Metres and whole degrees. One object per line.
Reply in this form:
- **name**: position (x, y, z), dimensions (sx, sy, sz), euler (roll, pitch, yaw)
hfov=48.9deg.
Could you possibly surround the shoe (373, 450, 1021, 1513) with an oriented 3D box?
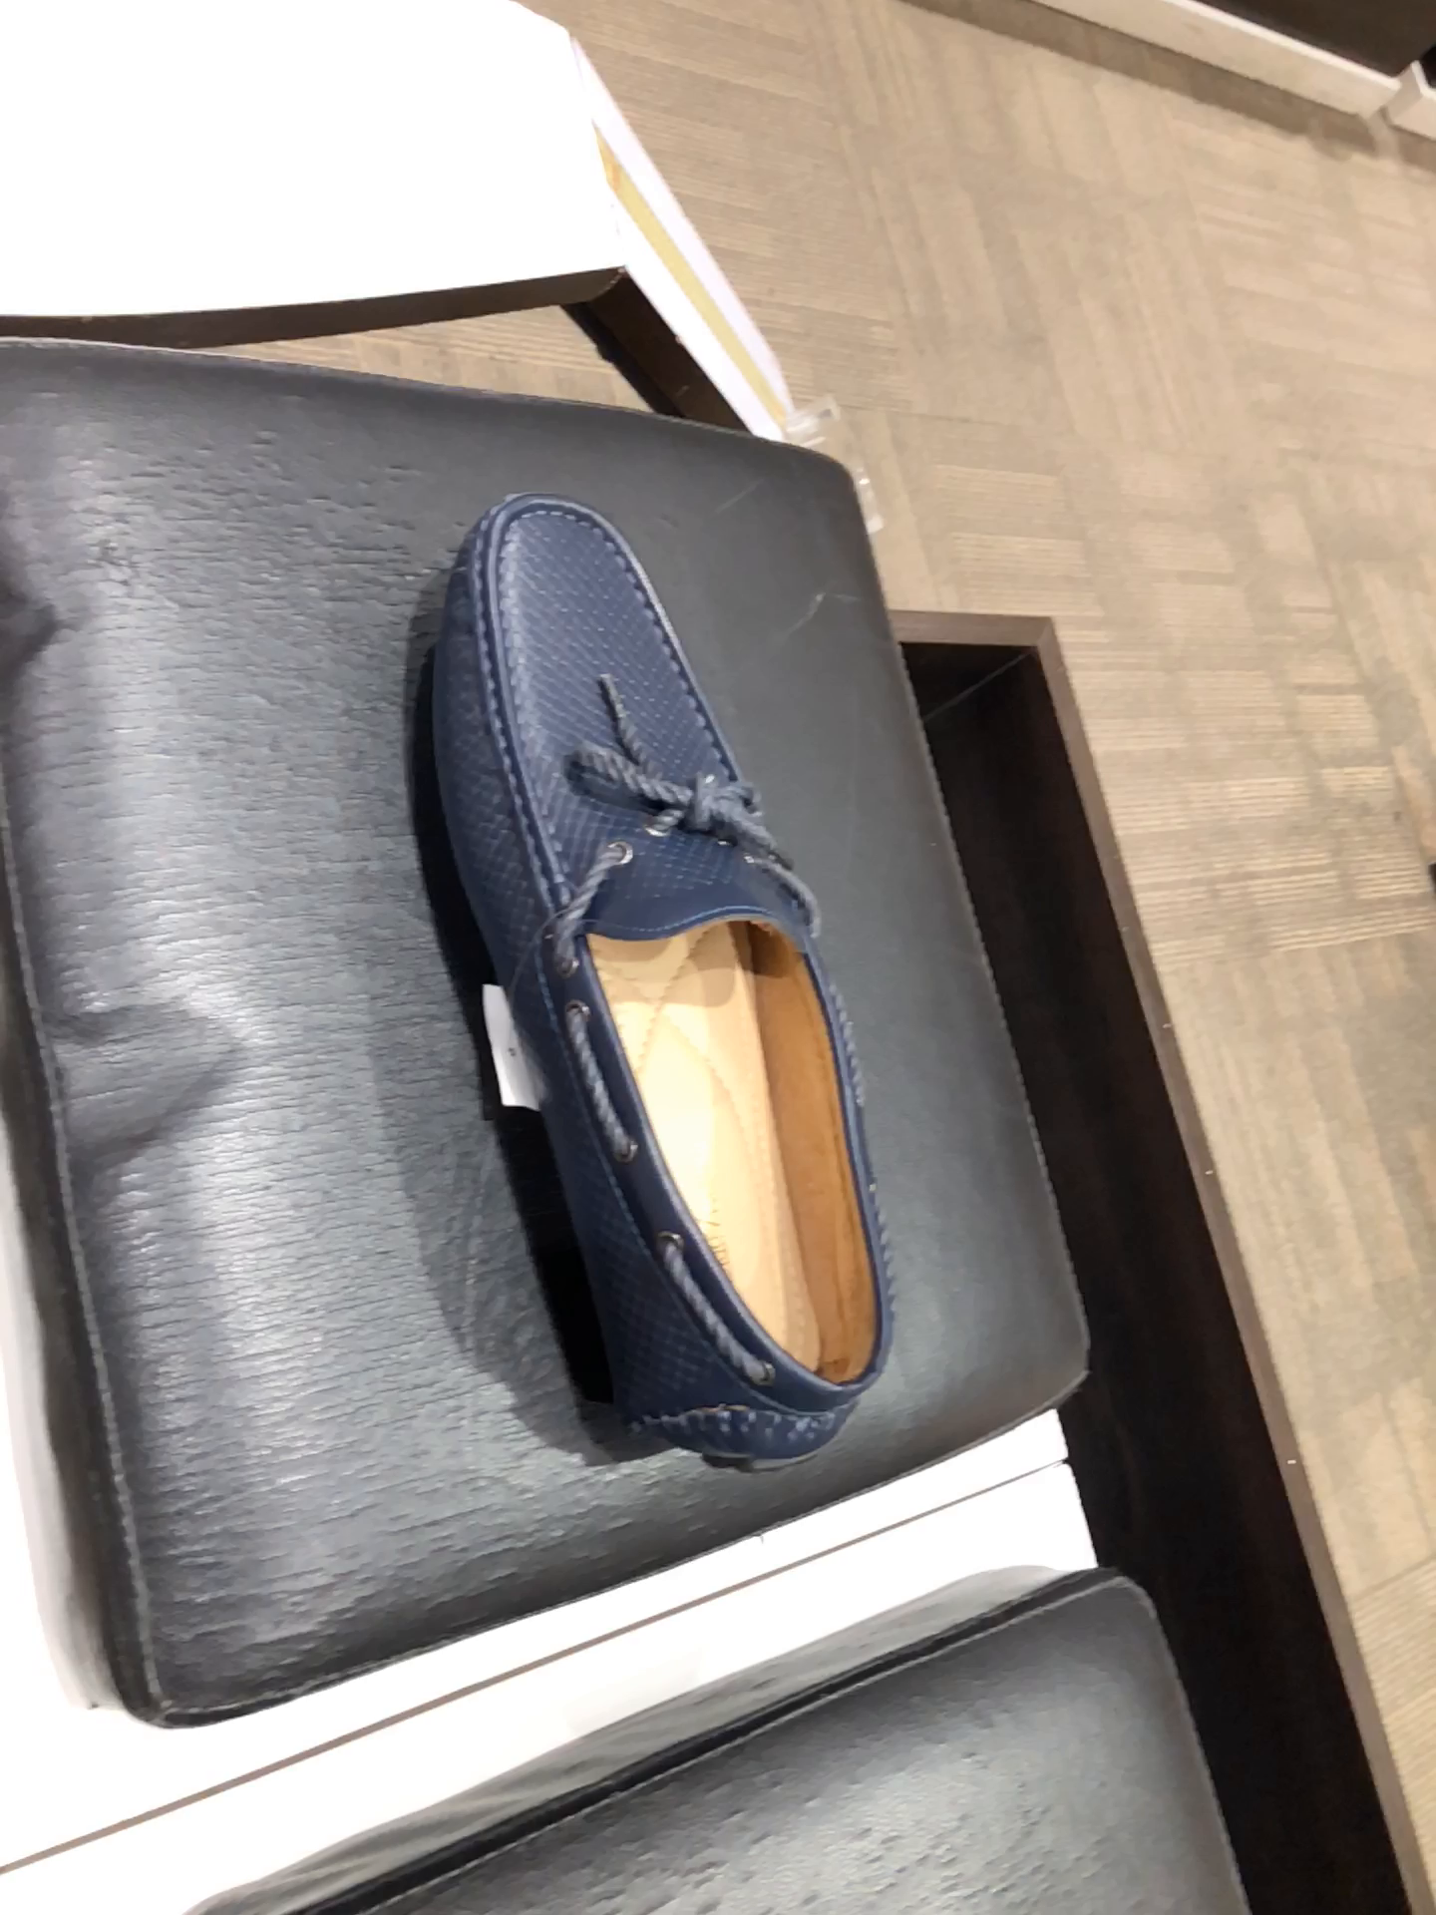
- **shoe**: position (-0.012, 0.004, 0.446), dimensions (0.101, 0.079, 0.270), euler (-6, 77, -34)
